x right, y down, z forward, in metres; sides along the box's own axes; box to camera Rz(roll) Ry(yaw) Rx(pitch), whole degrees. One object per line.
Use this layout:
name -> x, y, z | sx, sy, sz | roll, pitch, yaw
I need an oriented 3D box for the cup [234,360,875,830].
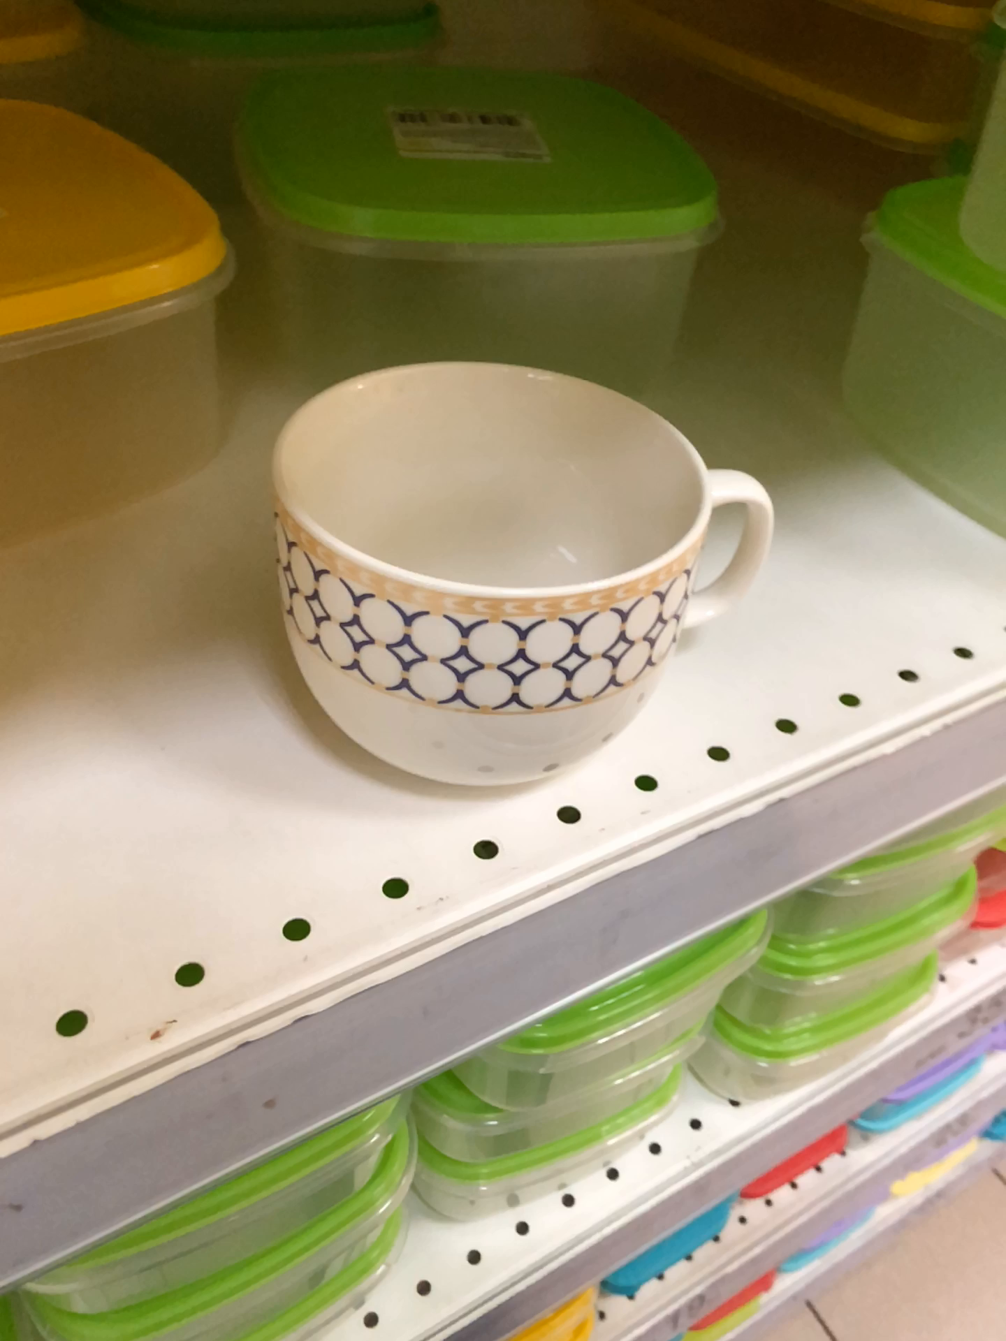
cup -> 0.003, -0.026, 0.288 | 0.134, 0.062, 0.105 | -4, 44, -12
